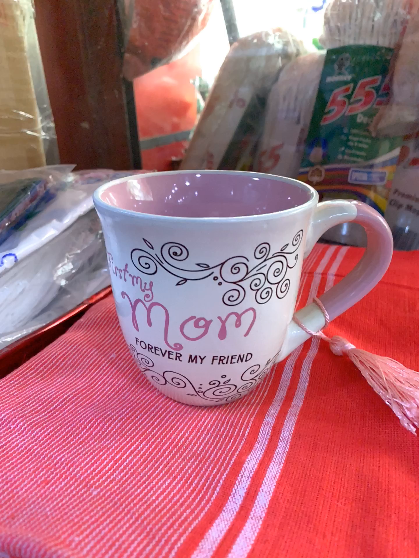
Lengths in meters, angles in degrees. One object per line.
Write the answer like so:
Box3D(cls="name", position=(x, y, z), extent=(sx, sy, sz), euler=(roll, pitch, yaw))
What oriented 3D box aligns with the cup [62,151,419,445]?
Box3D(cls="cup", position=(0.009, -0.005, 0.188), extent=(0.125, 0.075, 0.086), euler=(-10, 26, -15))
